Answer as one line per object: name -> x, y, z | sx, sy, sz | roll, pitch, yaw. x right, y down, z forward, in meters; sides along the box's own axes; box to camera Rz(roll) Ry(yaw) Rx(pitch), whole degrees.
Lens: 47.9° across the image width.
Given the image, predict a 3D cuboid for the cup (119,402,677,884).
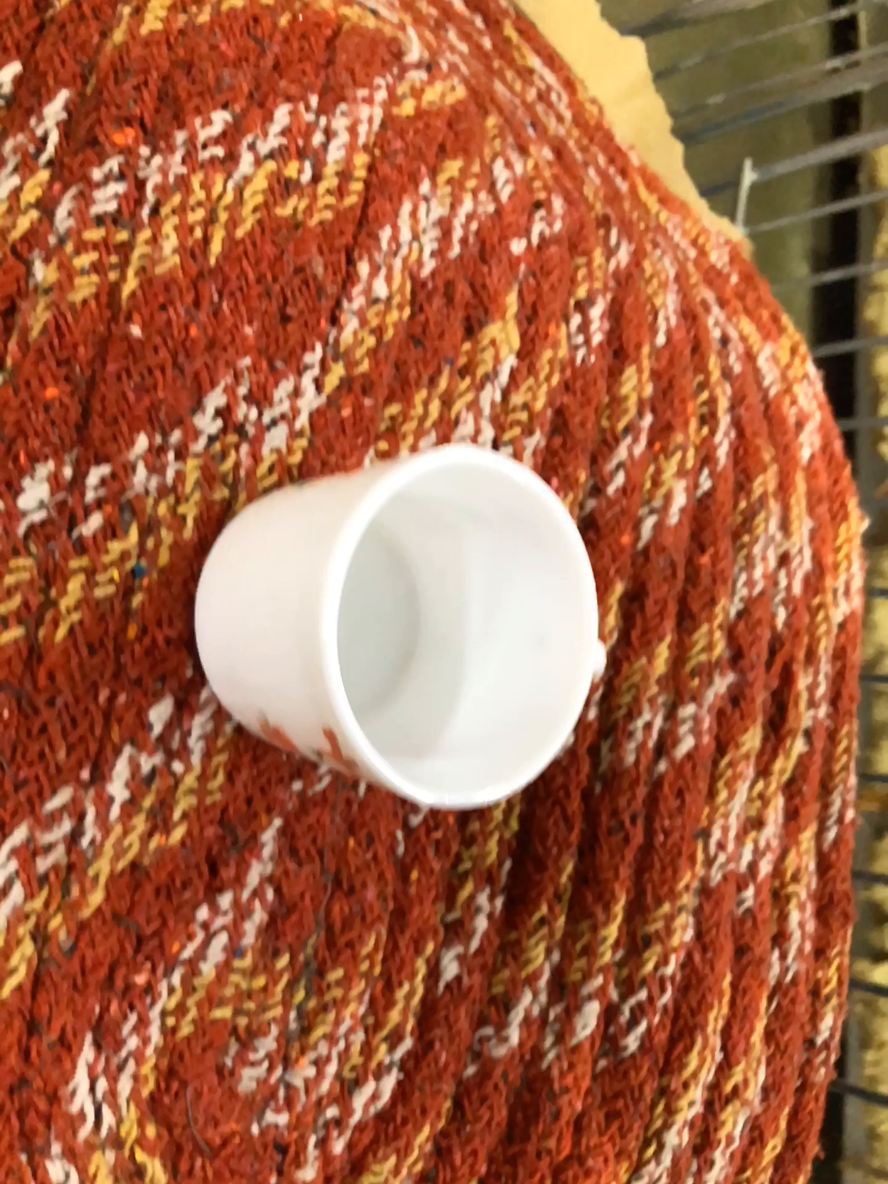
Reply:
cup -> -0.007, 0.014, 0.195 | 0.080, 0.060, 0.070 | 14, 79, -36
